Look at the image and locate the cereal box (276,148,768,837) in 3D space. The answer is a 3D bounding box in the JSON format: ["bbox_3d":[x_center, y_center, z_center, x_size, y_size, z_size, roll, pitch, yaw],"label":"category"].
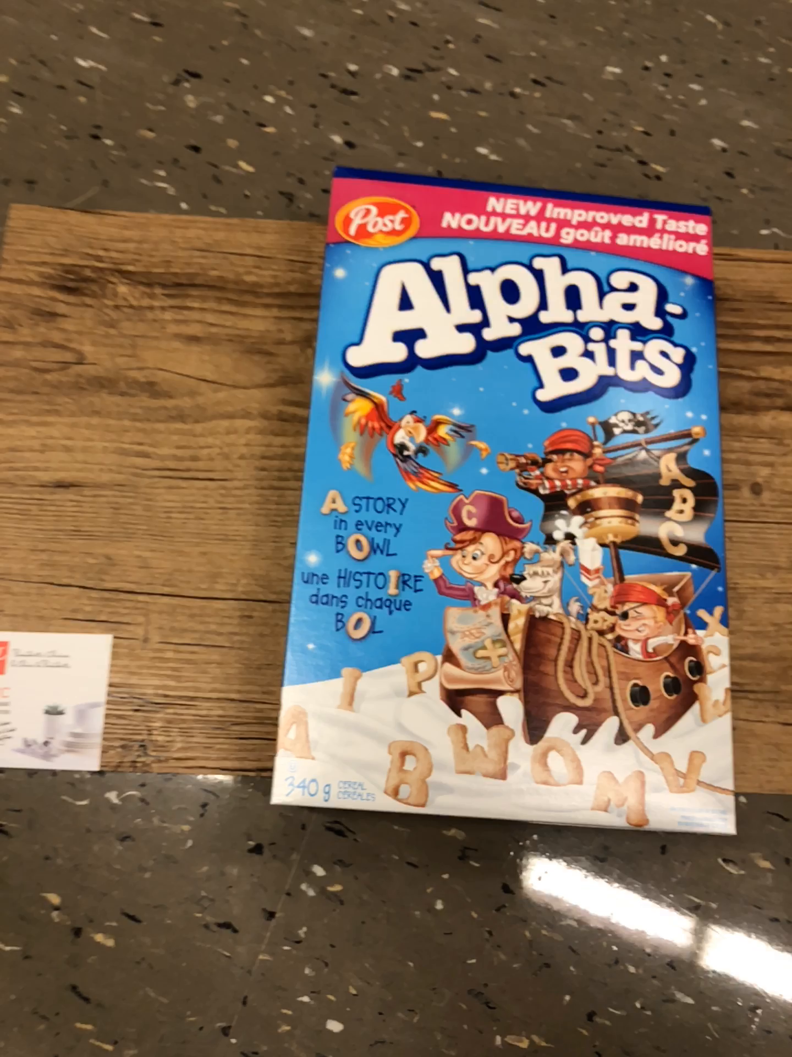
[{"bbox_3d":[0.061,-0.024,0.428,0.200,0.060,0.310,5,74,-2],"label":"cereal box"}]
